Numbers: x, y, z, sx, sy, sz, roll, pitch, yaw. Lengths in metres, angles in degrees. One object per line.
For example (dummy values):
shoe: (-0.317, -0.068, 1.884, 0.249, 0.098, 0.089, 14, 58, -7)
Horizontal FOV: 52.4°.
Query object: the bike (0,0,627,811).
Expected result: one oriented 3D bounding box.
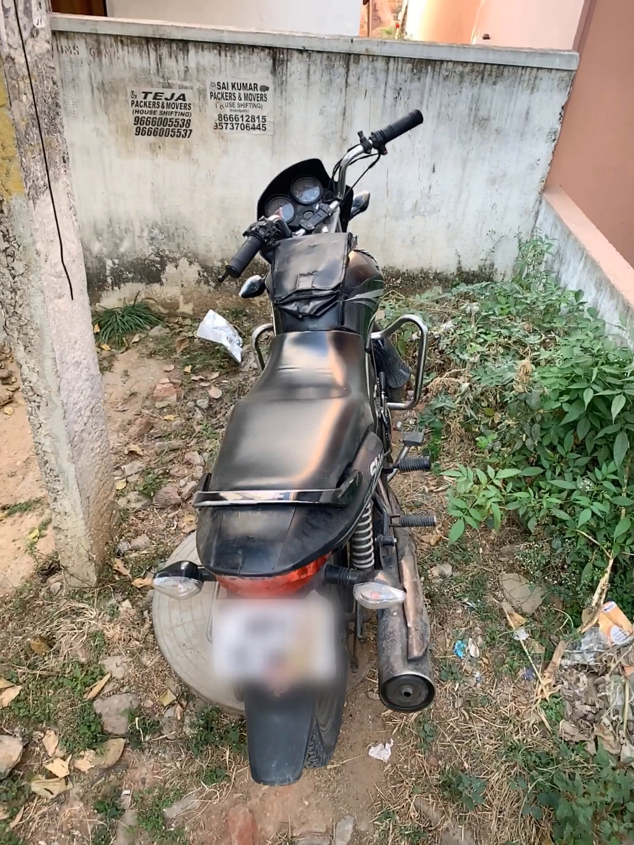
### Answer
bike: (-0.034, -0.137, 1.411, 0.734, 1.101, 1.246, 4, 46, -1)
